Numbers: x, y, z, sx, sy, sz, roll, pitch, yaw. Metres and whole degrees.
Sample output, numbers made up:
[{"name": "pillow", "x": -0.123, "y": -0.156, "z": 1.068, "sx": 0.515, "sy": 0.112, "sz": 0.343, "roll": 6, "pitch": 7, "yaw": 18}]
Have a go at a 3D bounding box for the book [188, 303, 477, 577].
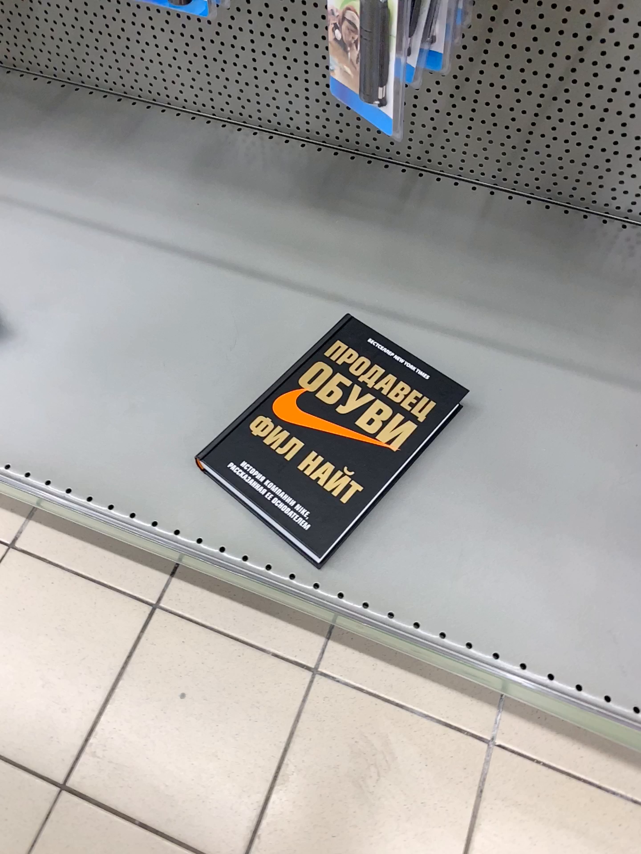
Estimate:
[{"name": "book", "x": 0.016, "y": 0.002, "z": 0.680, "sx": 0.170, "sy": 0.042, "sz": 0.250, "roll": 37, "pitch": 67, "yaw": 20}]
